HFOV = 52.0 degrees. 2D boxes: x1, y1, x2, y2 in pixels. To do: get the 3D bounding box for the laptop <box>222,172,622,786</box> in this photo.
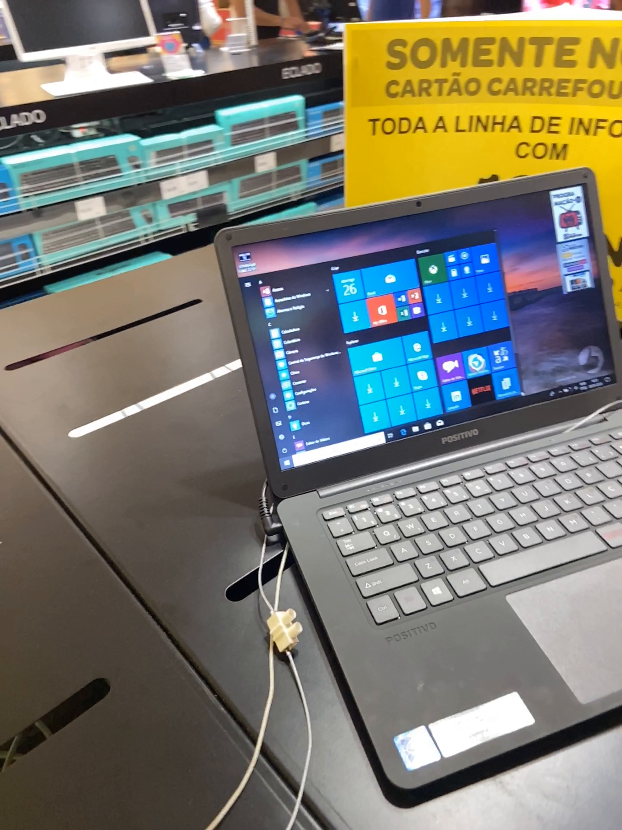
[{"bbox_3d":[0.130,-0.011,0.393,0.296,0.159,0.293,-13,36,-13],"label":"laptop"}]
